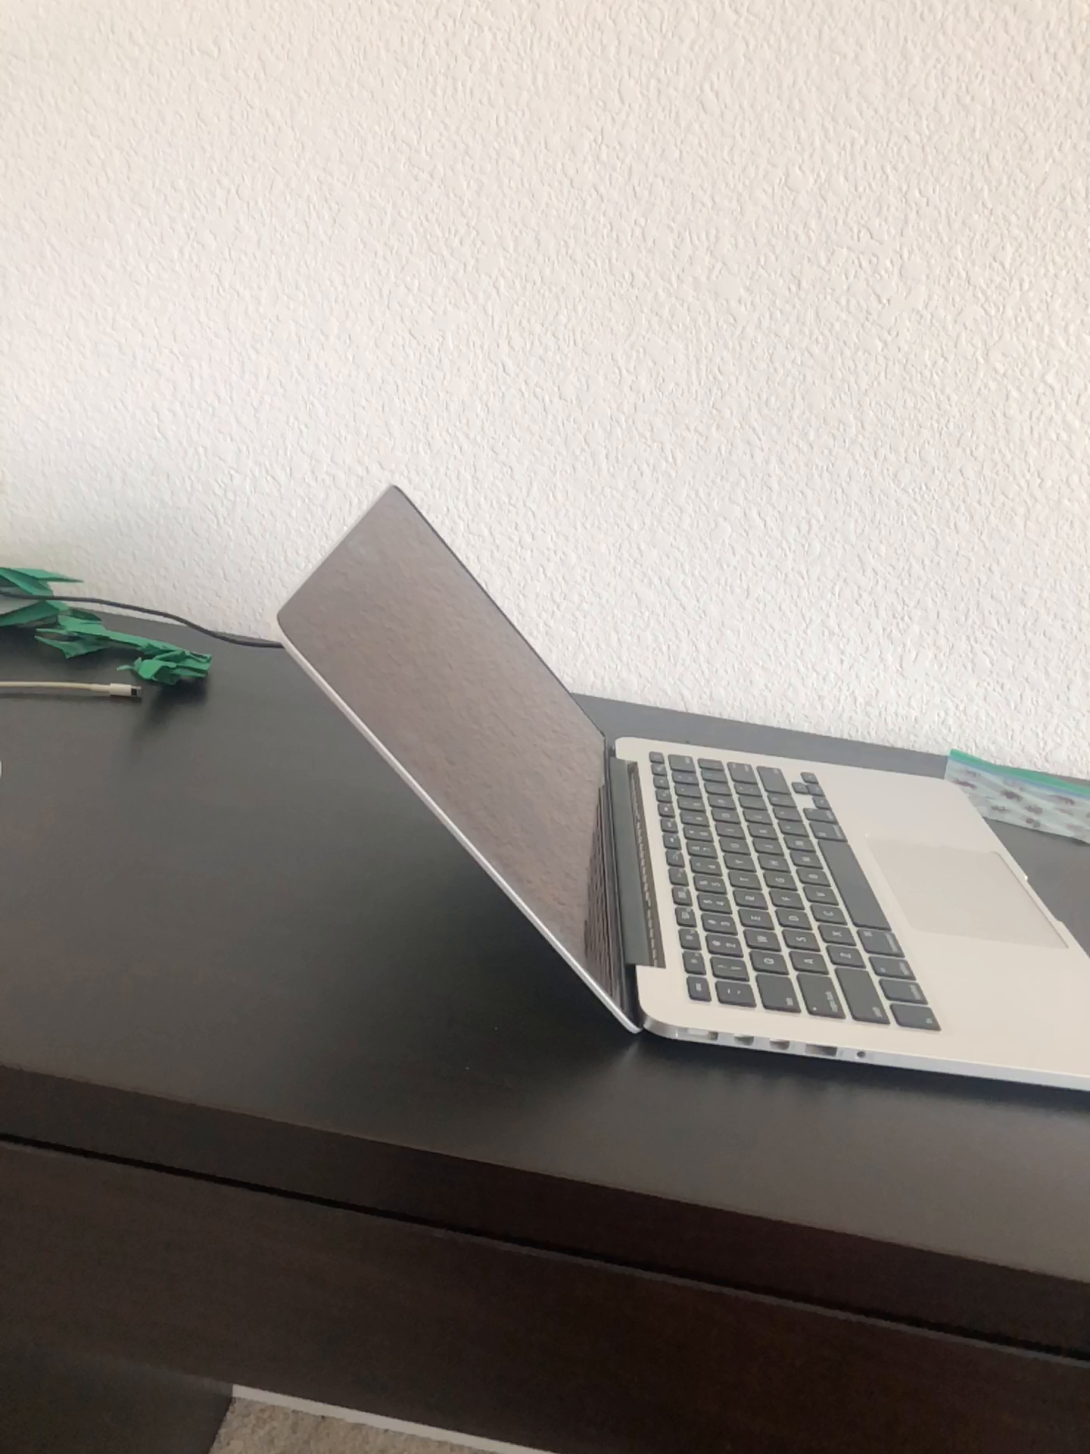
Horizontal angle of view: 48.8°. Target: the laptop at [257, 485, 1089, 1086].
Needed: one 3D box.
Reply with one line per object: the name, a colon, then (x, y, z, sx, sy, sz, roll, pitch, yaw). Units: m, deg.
laptop: (0.080, -0.002, 0.589, 0.362, 0.133, 0.310, 8, 20, -1)
